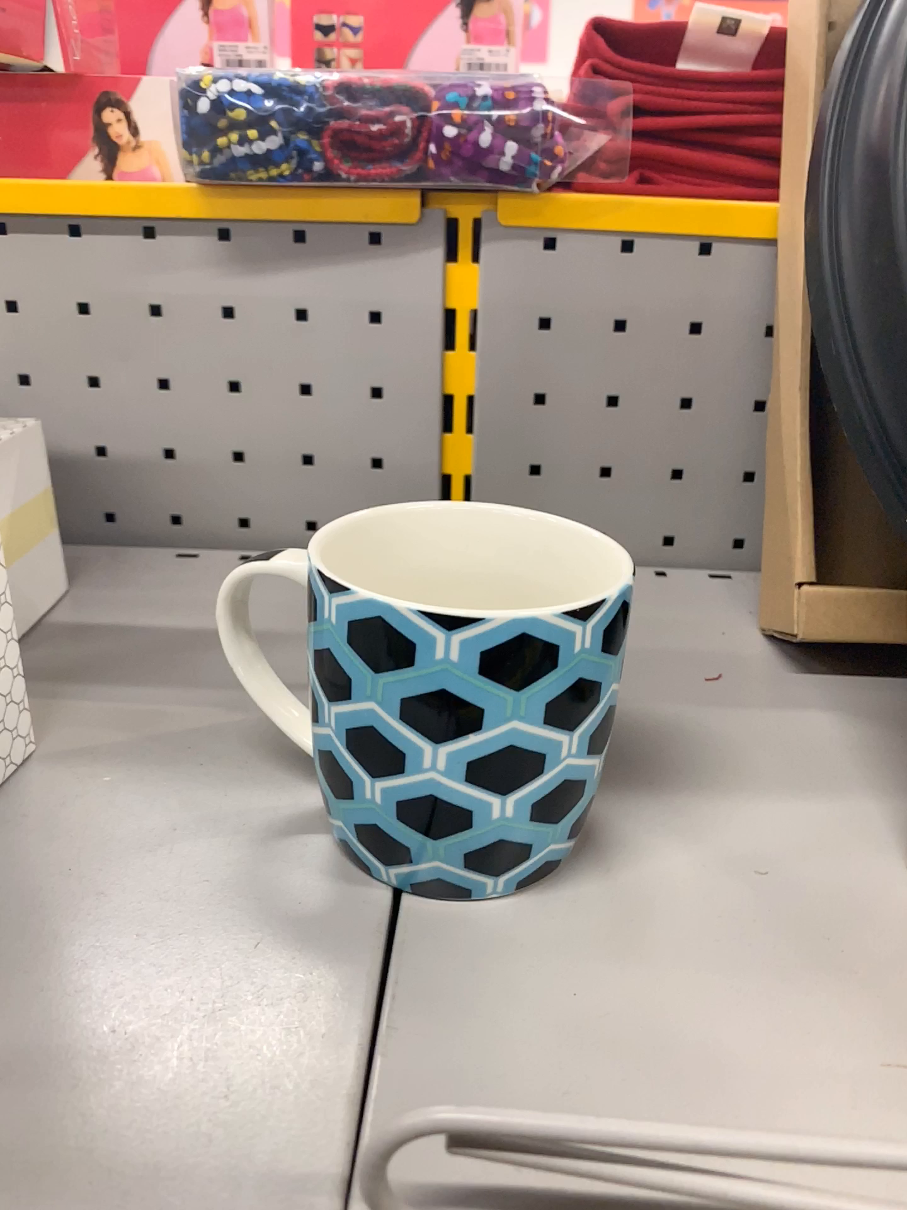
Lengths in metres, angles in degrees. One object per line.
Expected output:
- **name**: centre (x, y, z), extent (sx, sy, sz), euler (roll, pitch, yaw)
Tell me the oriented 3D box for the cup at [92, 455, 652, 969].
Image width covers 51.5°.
- **cup**: centre (-0.018, 0.019, 0.267), extent (0.120, 0.090, 0.090), euler (11, 25, 20)
